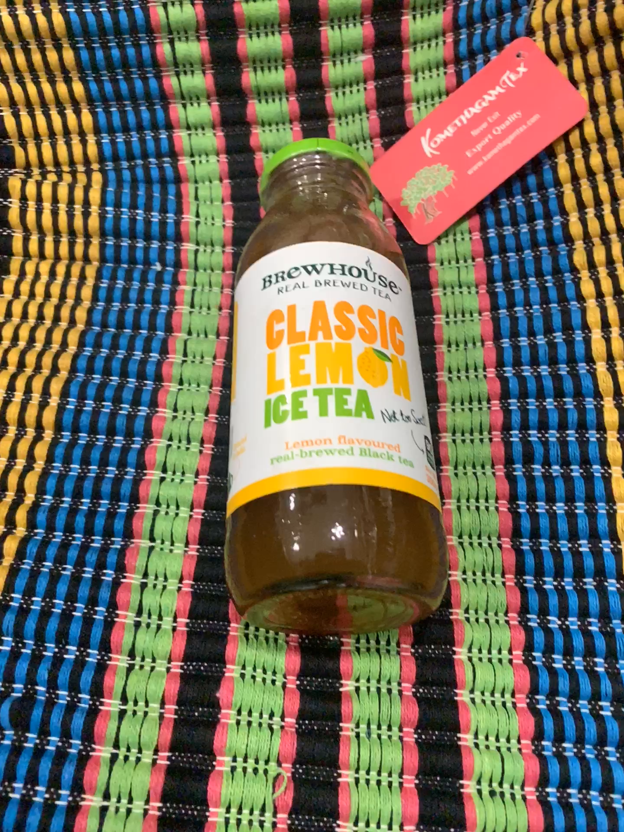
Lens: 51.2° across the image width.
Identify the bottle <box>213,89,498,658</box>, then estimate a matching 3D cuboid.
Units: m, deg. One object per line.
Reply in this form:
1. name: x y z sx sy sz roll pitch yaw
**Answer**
1. bottle: 0.004 -0.025 0.204 0.060 0.050 0.180 -1 59 -4
